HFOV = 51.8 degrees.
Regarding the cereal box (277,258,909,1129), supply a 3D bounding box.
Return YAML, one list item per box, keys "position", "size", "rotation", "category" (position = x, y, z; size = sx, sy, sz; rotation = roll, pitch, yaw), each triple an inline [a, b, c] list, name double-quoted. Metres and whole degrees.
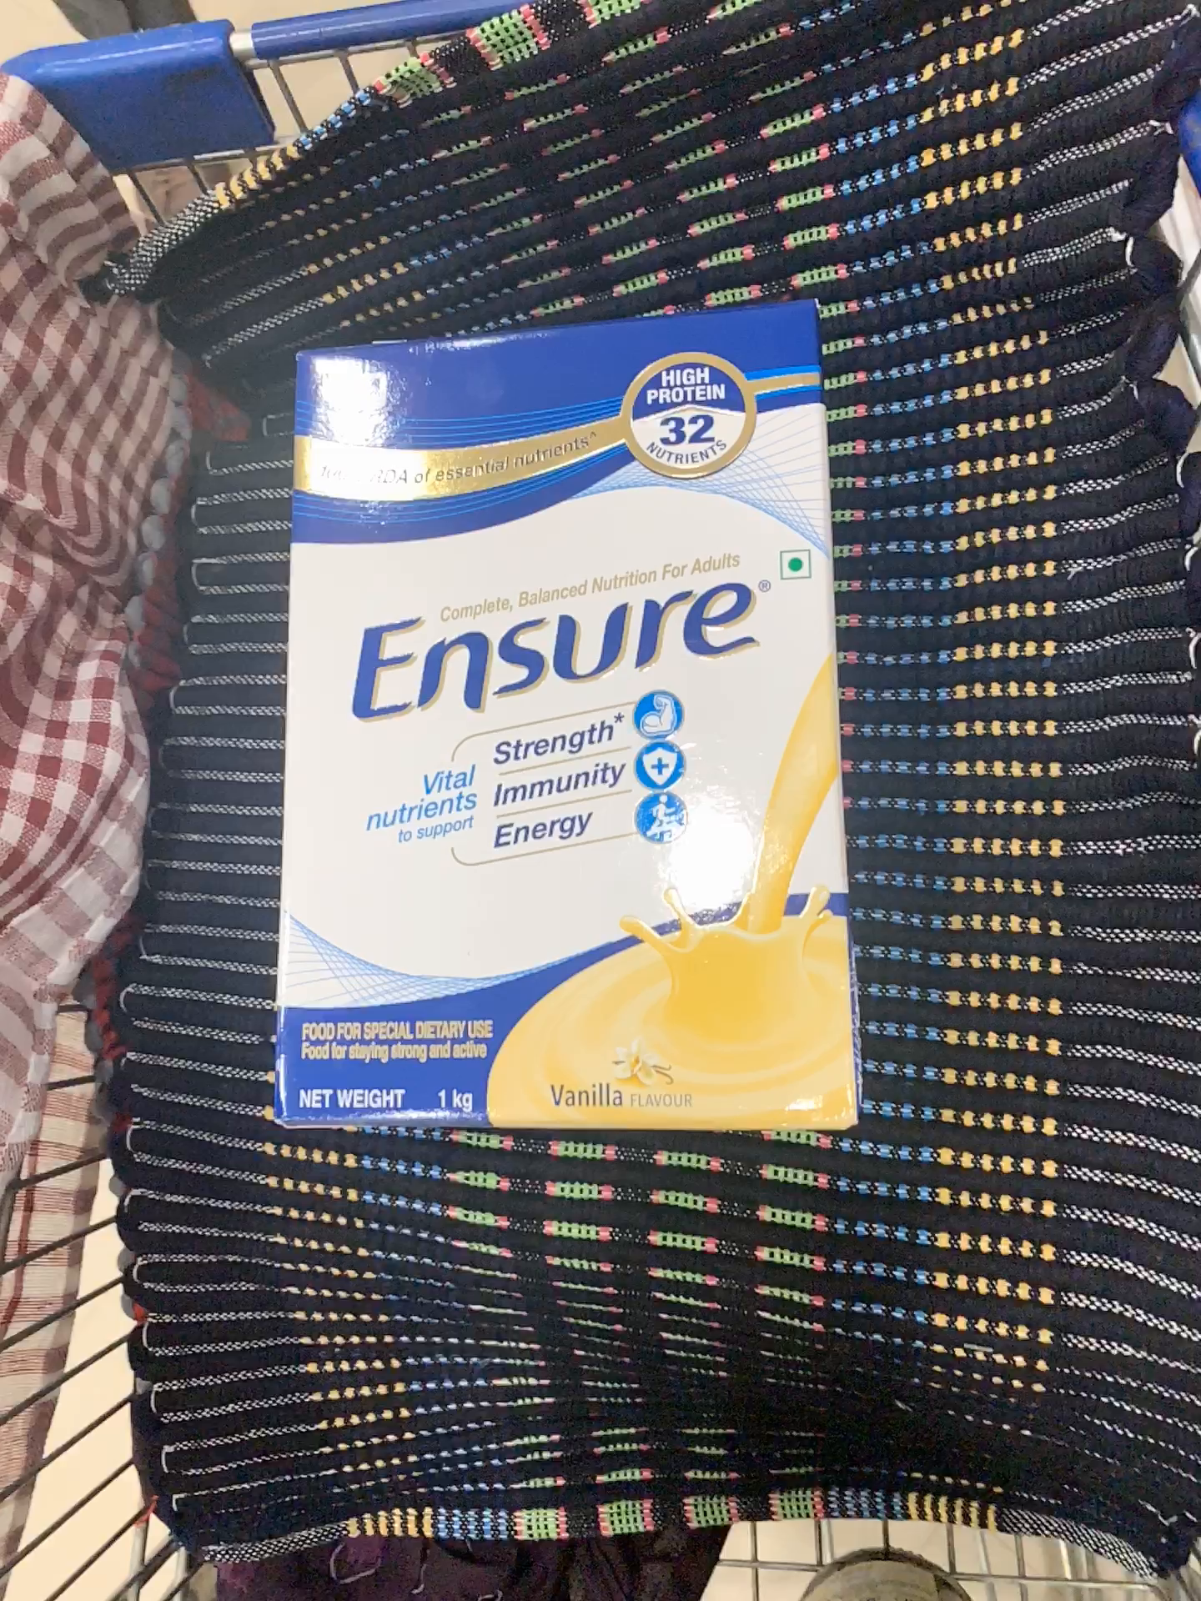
- position: [0.003, -0.022, 0.355]
  size: [0.150, 0.090, 0.220]
  rotation: [-2, 78, 10]
  category: "cereal box"
